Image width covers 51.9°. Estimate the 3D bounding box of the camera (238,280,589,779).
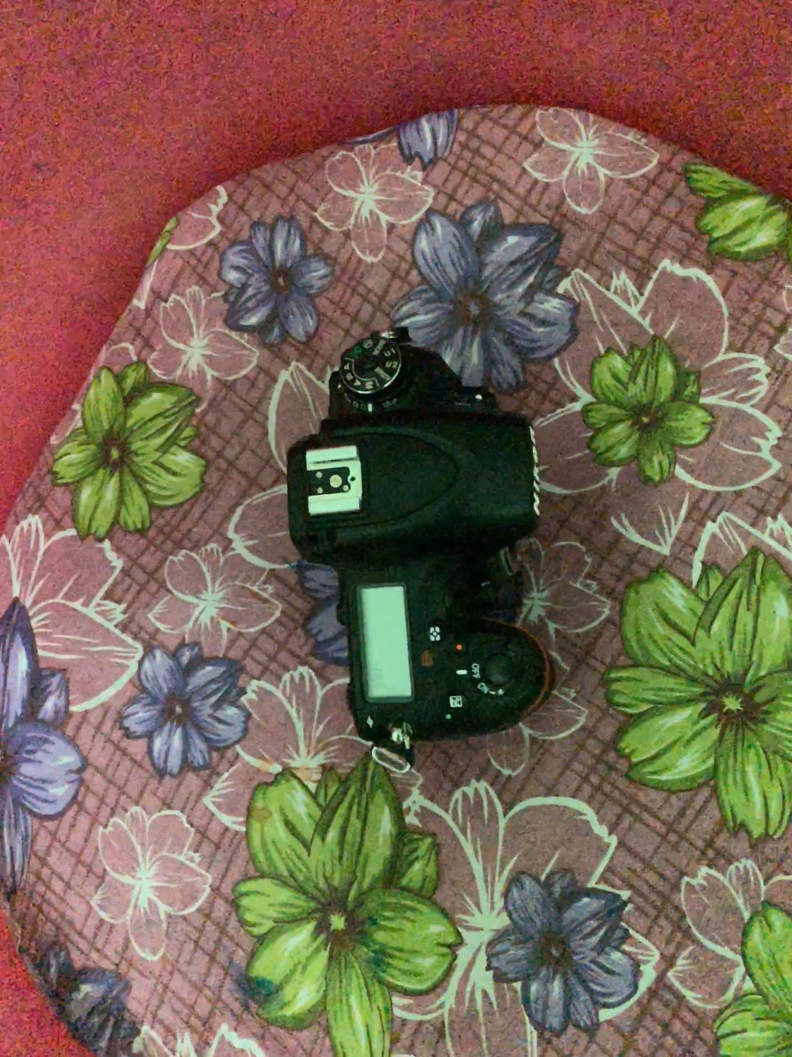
[{"bbox_3d":[0.009,0.004,0.286,0.092,0.090,0.140,-6,85,8],"label":"camera"}]
